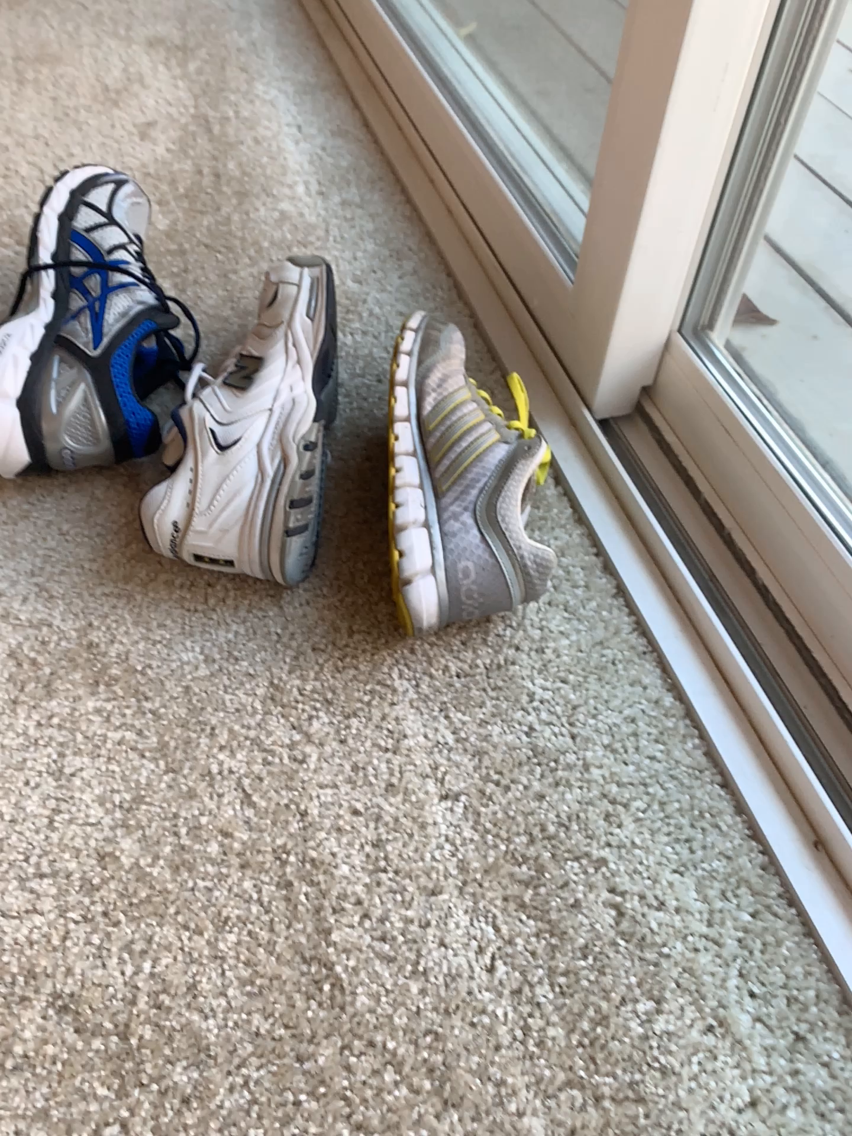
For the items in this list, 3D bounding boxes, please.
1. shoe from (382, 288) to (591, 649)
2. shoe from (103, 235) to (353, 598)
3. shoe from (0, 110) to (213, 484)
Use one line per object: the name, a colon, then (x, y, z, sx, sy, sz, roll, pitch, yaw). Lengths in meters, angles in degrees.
shoe: (0.030, -0.068, 0.593, 0.110, 0.100, 0.221, -1, 65, -5)
shoe: (-0.109, -0.103, 0.543, 0.090, 0.090, 0.231, 9, 46, -2)
shoe: (-0.233, -0.199, 0.620, 0.120, 0.119, 0.271, 2, 50, -5)
